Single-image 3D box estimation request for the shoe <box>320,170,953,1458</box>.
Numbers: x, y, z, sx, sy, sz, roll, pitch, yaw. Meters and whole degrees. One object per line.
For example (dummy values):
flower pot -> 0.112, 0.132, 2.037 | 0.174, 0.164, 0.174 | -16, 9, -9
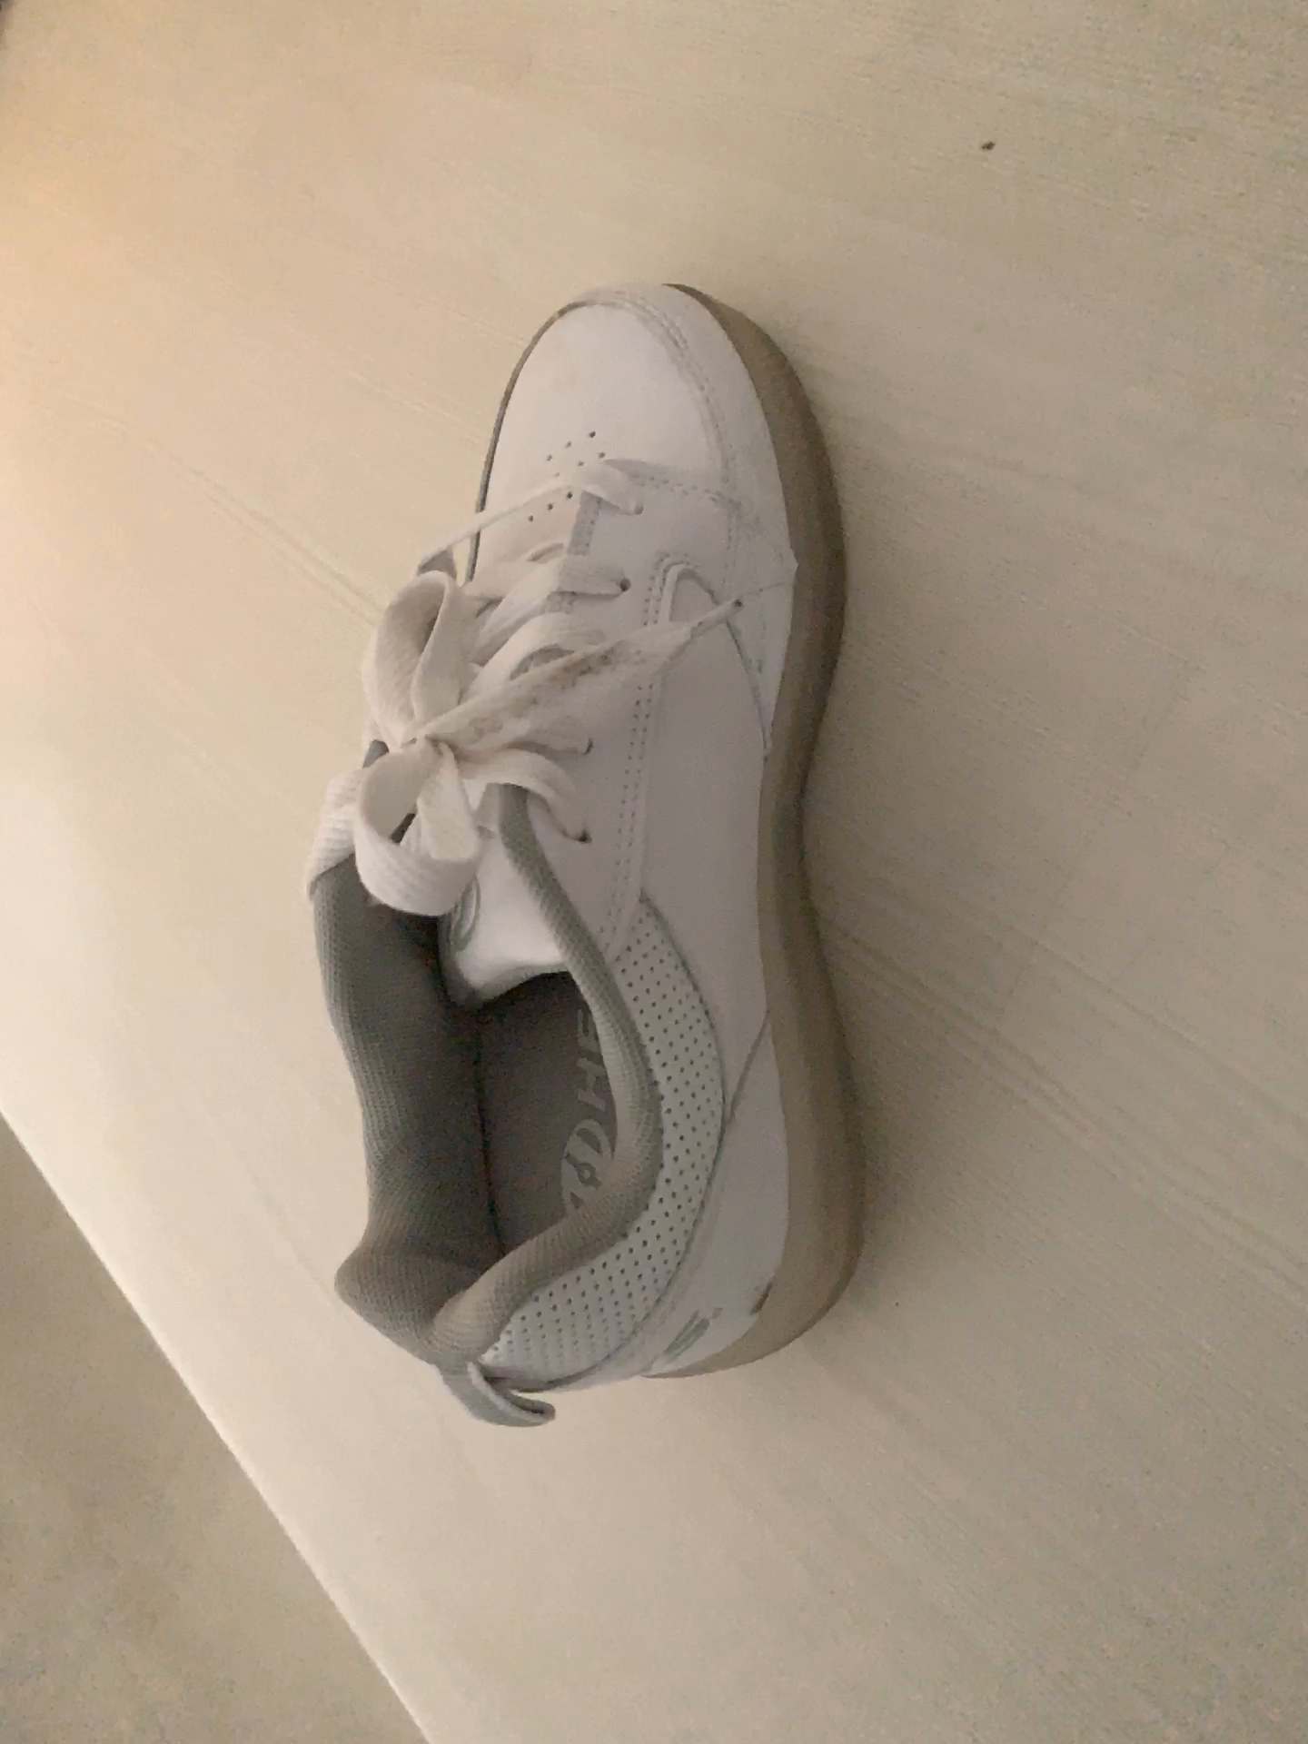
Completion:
shoe -> -0.006, -0.008, 0.293 | 0.090, 0.090, 0.230 | -12, 74, 36
